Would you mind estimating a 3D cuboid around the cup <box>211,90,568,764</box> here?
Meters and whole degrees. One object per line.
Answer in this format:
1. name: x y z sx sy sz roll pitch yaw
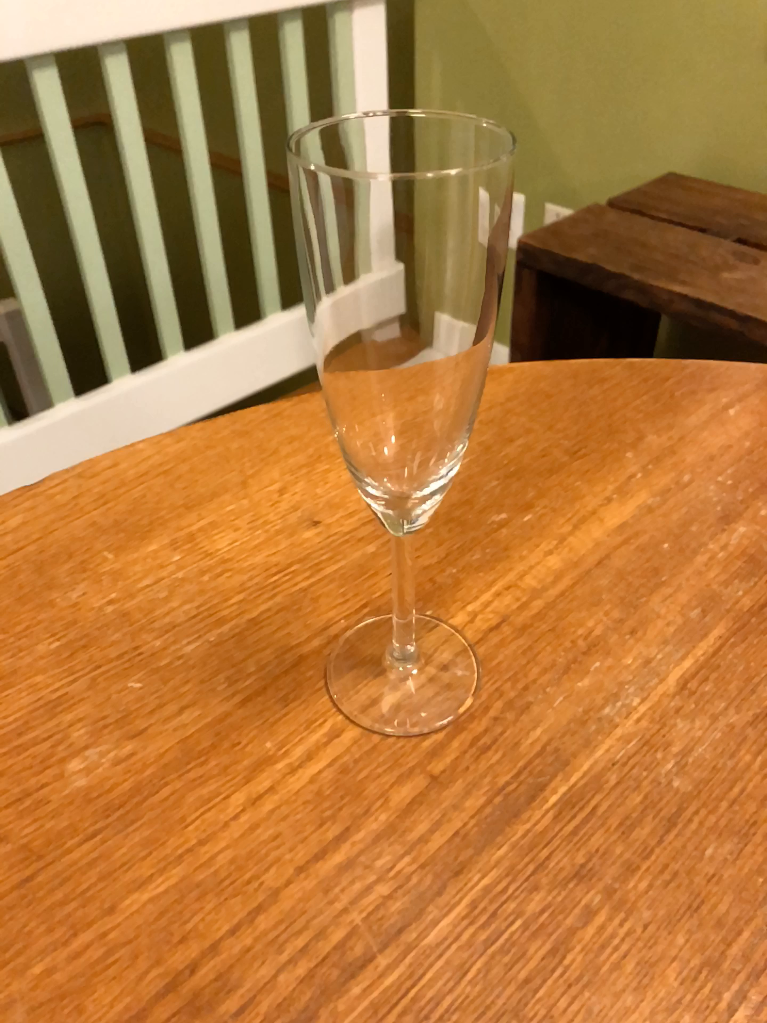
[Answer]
1. cup: 0.006 -0.018 0.296 0.066 0.215 0.074 23 45 28
